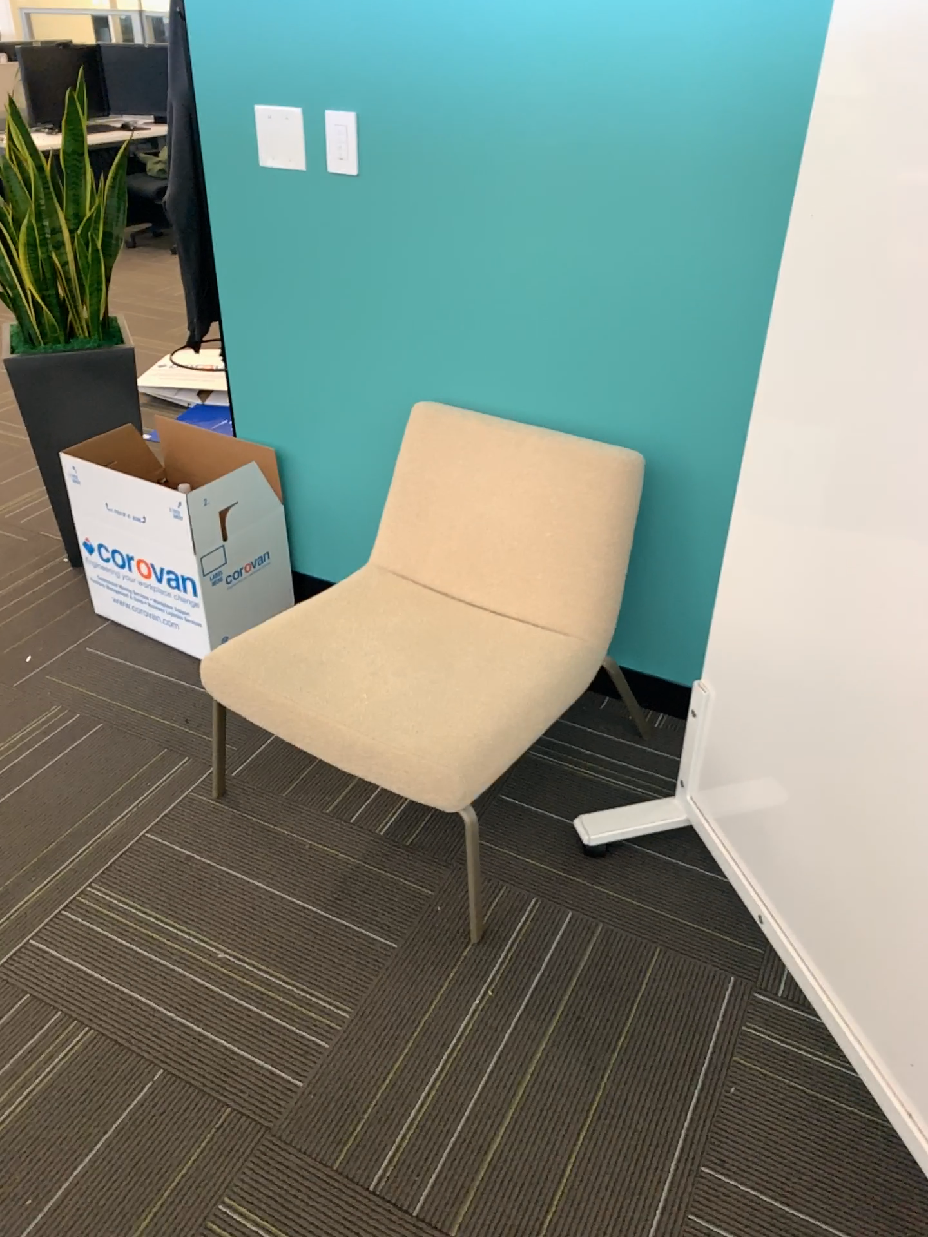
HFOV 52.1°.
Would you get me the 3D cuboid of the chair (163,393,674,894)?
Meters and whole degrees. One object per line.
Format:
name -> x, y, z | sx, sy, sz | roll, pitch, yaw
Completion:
chair -> -0.059, -0.018, 1.932 | 0.662, 0.567, 0.732 | 19, 37, 26
